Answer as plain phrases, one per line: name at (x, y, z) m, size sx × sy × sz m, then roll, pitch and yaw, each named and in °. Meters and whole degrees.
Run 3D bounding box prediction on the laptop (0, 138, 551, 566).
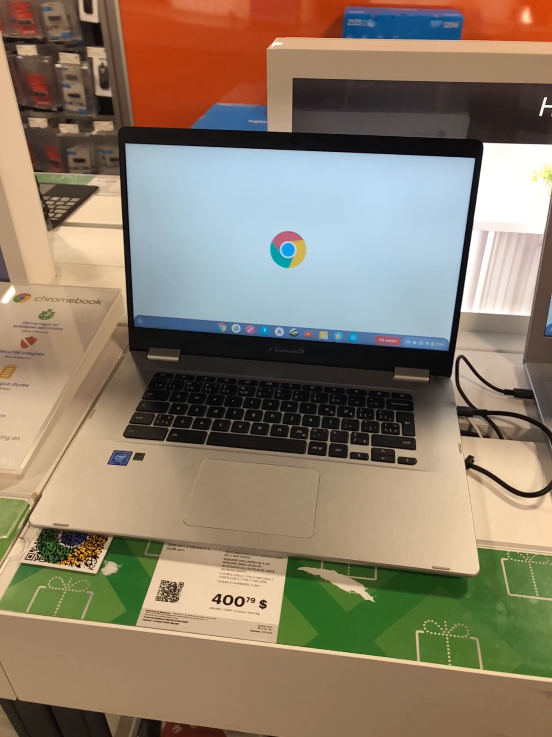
laptop at (-0.001, -0.039, 0.514) m, size 0.337 × 0.225 × 0.287 m, roll 4°, pitch 35°, yaw 7°
